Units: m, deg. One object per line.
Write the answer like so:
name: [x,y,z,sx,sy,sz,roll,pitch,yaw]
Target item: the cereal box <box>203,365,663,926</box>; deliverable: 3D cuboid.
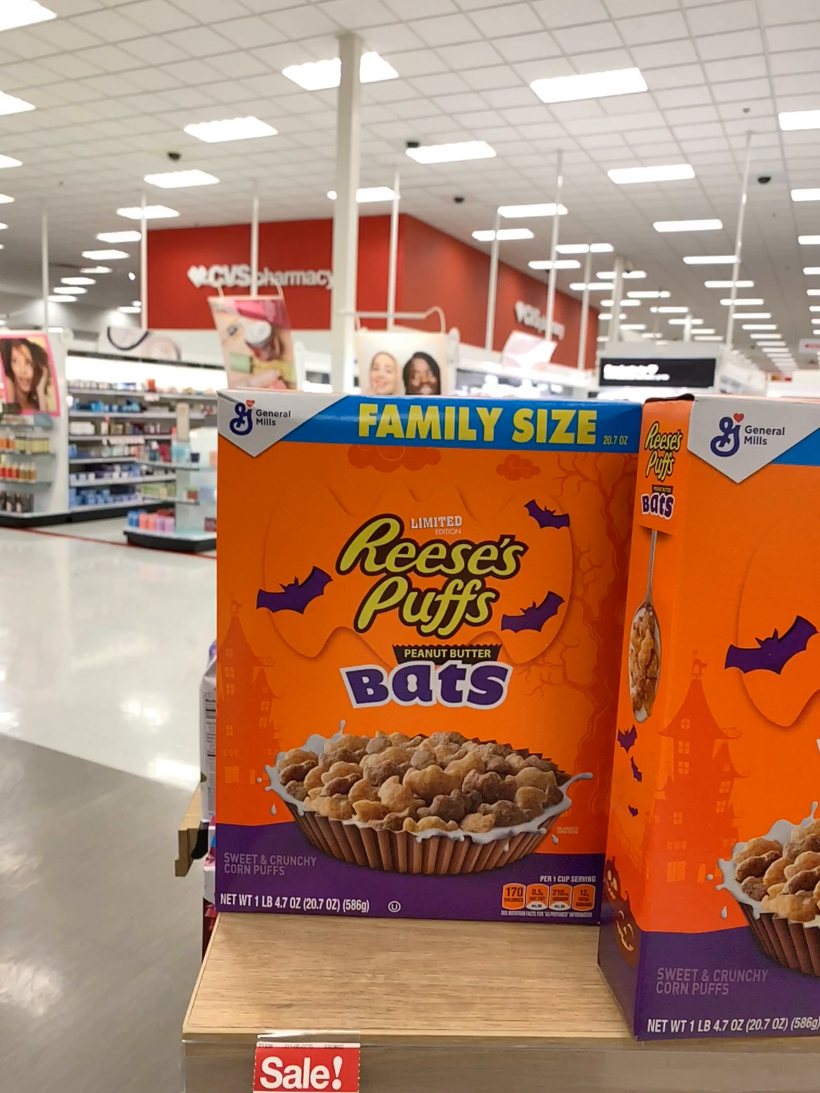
cereal box: [0.007,0.057,0.501,0.240,0.309,0.070,2,9,-1]
